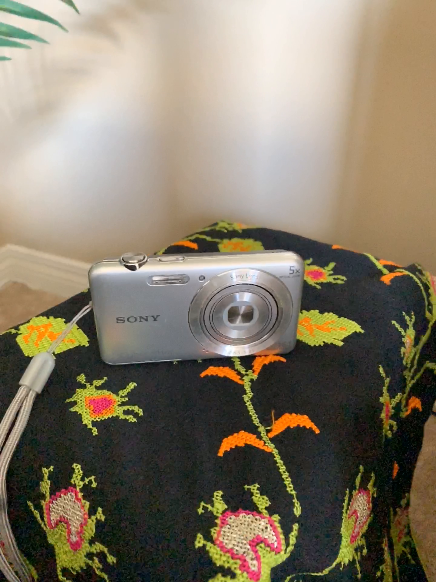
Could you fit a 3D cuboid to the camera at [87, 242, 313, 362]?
[{"bbox_3d":[-0.007,0.004,0.192,0.086,0.042,0.020,-3,30,-6],"label":"camera"}]
